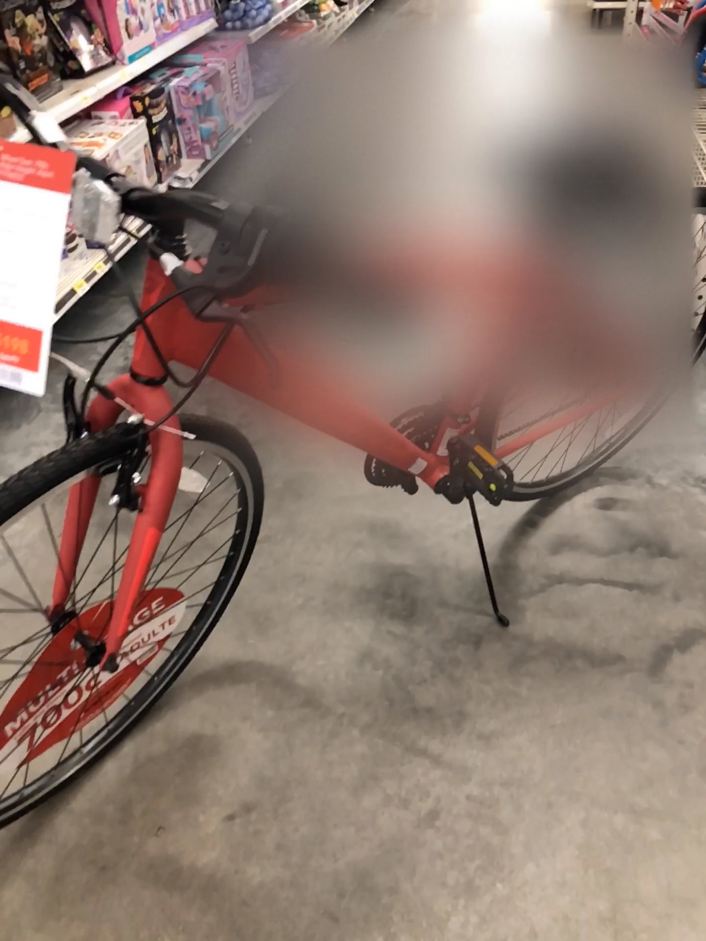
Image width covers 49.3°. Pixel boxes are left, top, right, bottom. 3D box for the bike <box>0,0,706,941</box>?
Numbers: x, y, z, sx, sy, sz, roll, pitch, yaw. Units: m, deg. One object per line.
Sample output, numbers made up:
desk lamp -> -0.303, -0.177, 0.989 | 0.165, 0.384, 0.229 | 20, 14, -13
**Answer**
bike -> 0.087, -0.078, 1.105 | 1.690, 1.000, 0.616 | -30, 46, -27
